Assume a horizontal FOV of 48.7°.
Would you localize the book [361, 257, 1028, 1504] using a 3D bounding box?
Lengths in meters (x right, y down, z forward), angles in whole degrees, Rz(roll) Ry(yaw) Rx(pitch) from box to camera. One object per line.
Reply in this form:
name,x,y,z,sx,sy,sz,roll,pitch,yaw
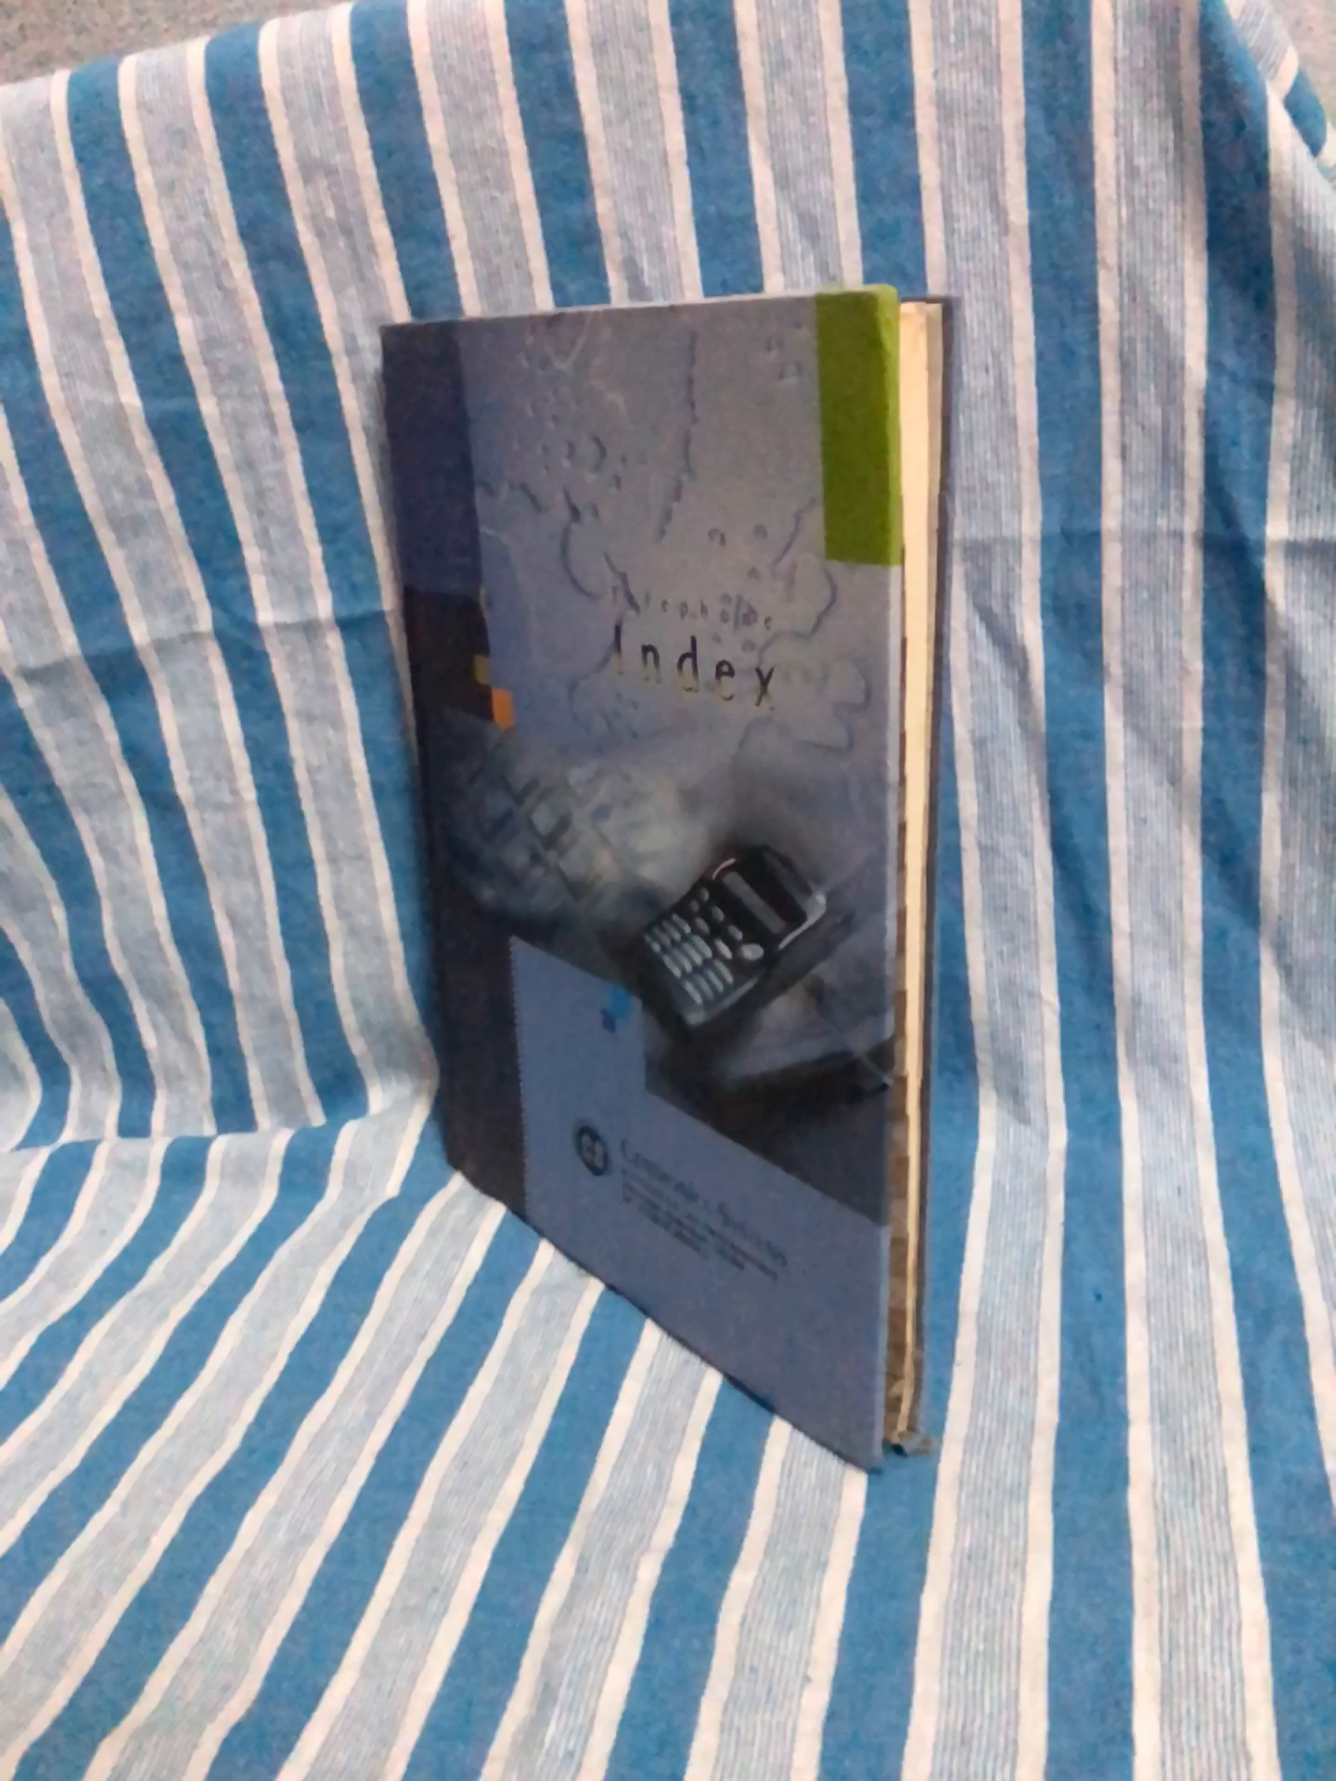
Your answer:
book,-0.005,-0.011,0.359,0.023,0.252,0.193,-17,25,-36
